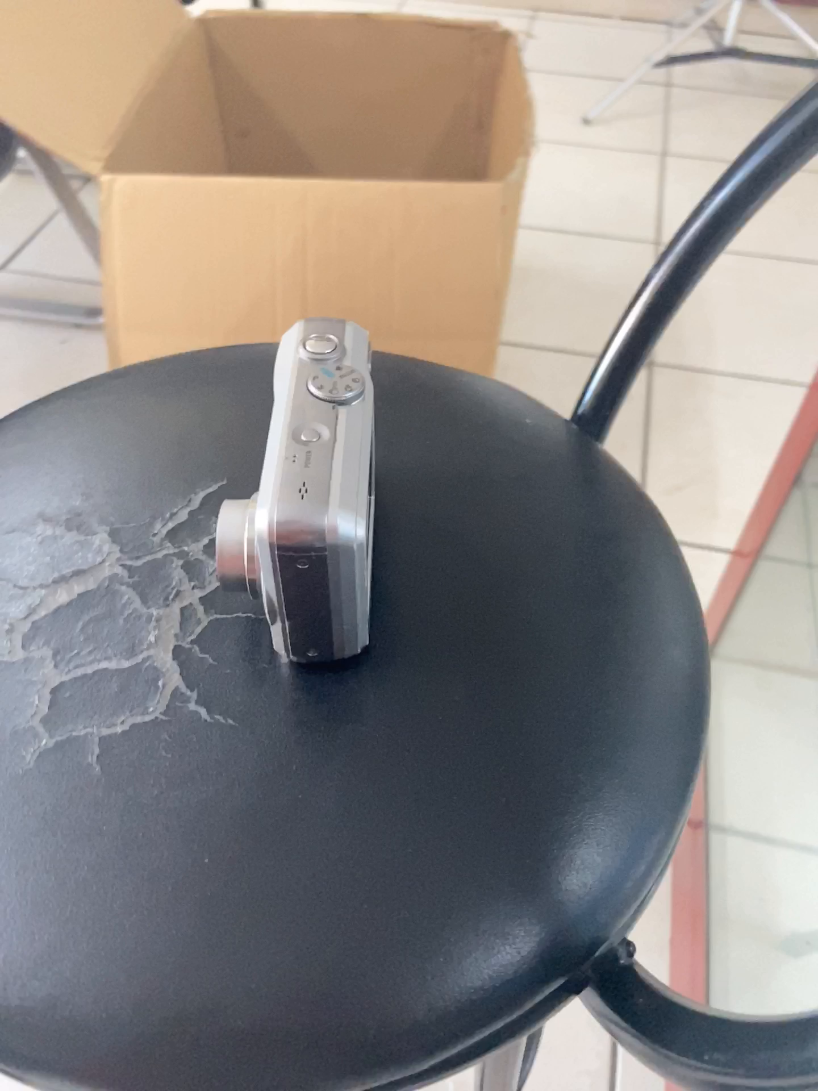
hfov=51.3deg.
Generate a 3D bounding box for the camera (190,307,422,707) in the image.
[{"bbox_3d":[-0.023,-0.014,0.246,0.050,0.060,0.101,2,49,0],"label":"camera"}]
